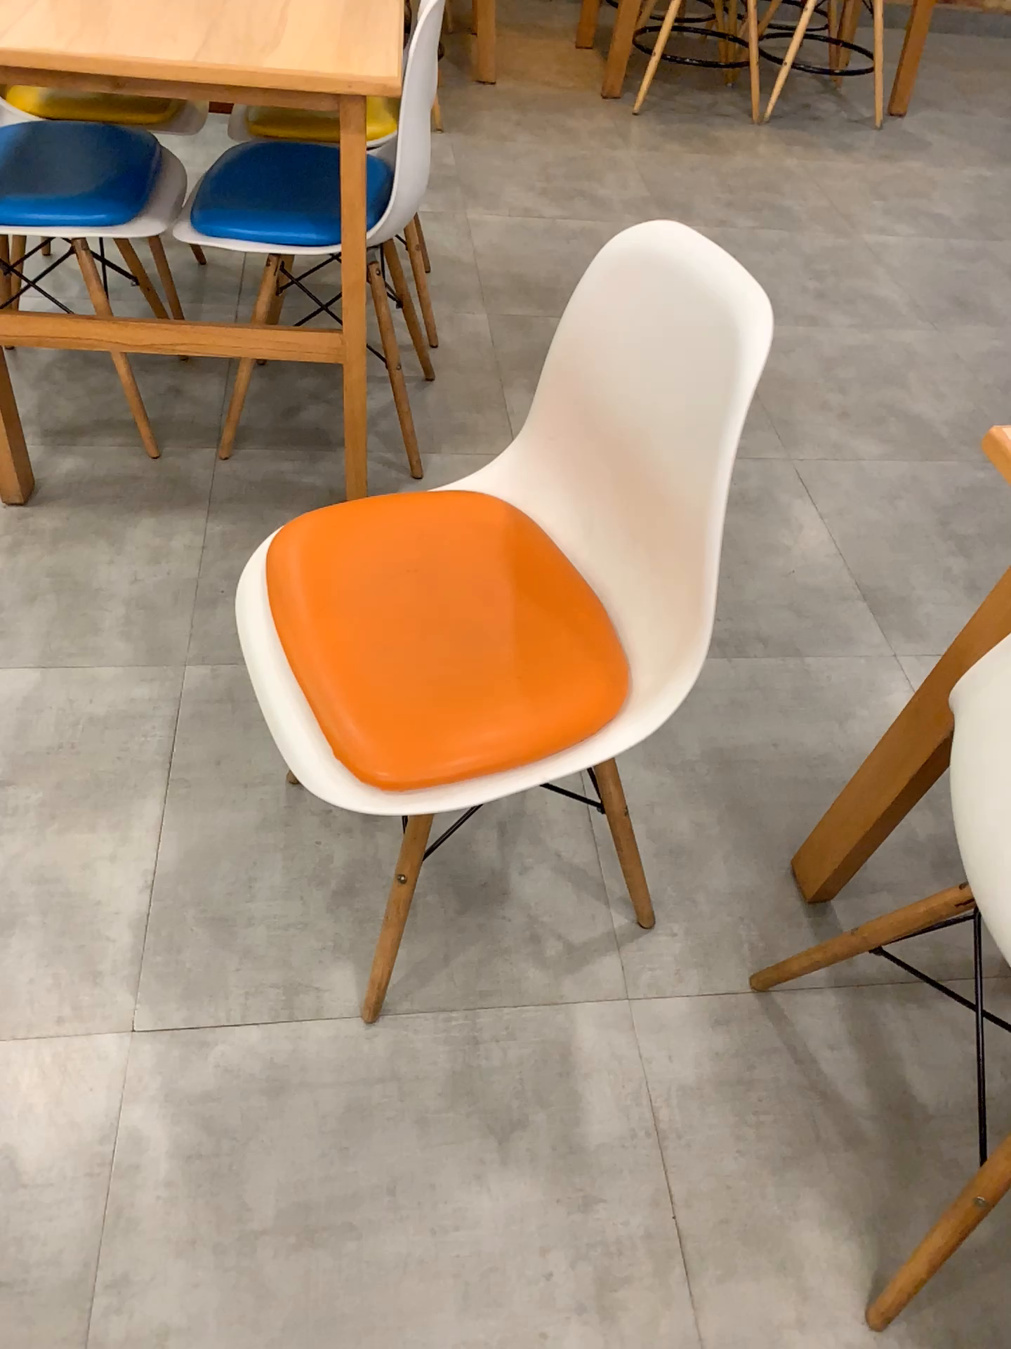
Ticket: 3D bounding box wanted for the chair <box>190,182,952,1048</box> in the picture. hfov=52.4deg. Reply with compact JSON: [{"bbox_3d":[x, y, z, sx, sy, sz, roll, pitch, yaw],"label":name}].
[{"bbox_3d":[-0.011,-0.054,1.078,0.481,0.704,0.473,-10,47,-17],"label":"chair"}]
